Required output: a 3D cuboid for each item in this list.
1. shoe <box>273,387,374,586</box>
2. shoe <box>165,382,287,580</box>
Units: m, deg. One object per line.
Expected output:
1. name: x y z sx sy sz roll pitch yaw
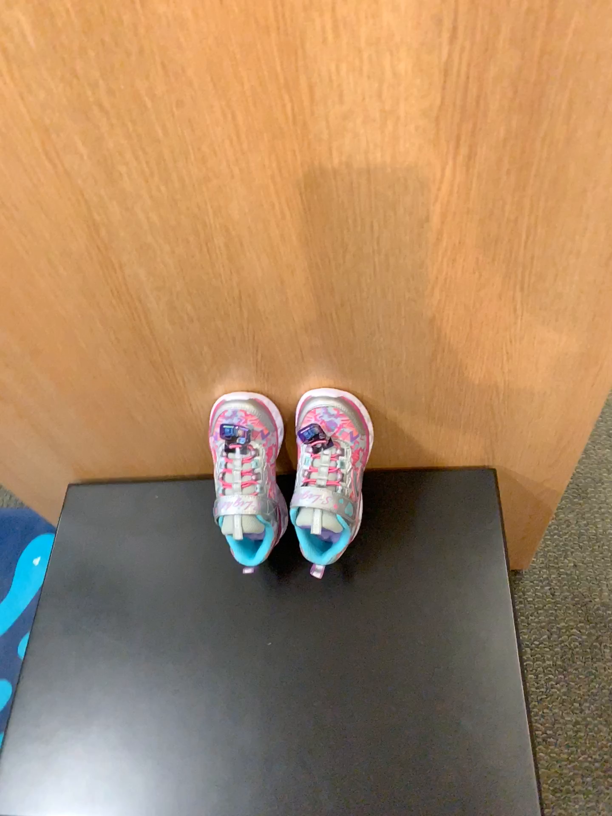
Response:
1. shoe: 0.023 0.078 0.658 0.090 0.180 0.100 0 18 8
2. shoe: -0.079 0.075 0.667 0.090 0.180 0.100 -3 18 6
